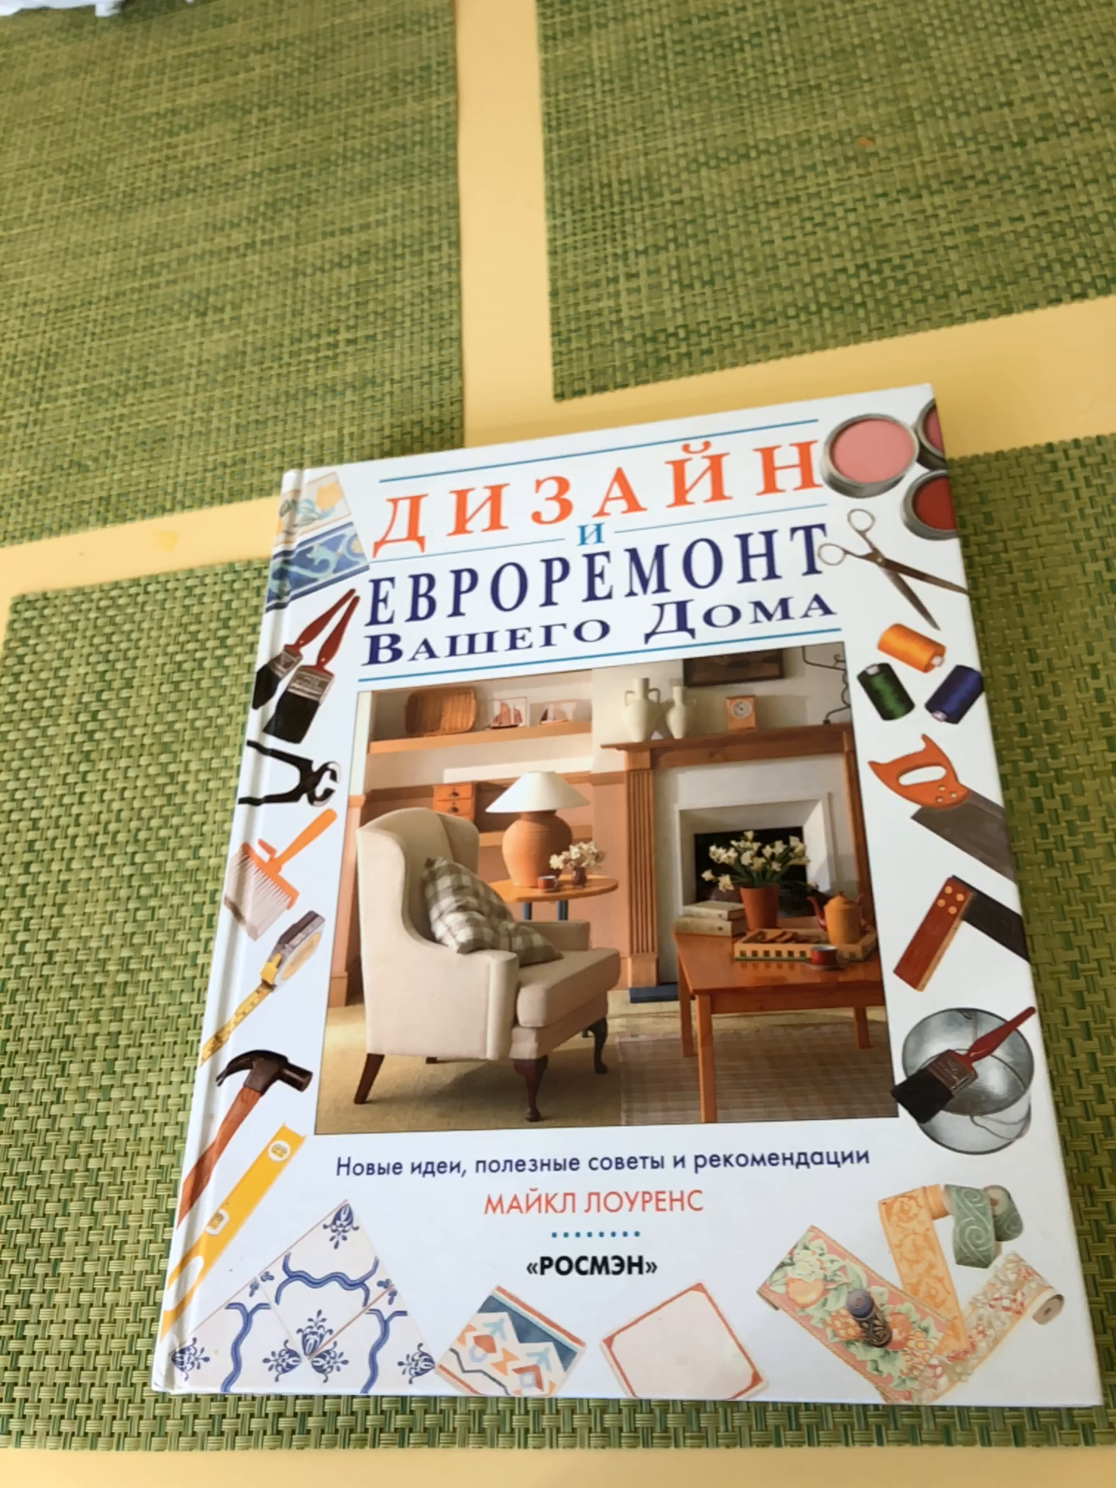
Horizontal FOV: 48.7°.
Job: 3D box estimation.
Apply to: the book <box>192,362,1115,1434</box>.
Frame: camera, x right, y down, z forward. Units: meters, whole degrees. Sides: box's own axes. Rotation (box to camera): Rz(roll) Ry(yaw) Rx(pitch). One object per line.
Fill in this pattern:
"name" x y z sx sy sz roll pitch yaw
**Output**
"book" 0.029 0.026 0.335 0.212 0.038 0.276 -5 61 10
